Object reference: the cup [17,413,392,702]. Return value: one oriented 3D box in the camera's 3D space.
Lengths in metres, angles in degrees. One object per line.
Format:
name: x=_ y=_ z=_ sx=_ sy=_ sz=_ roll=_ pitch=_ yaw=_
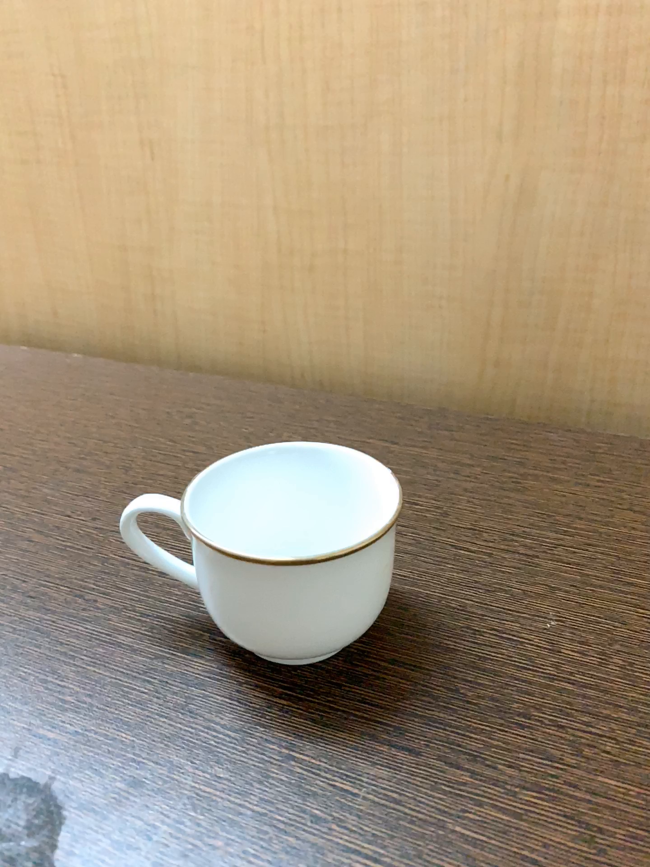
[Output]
cup: x=-0.029 y=0.032 z=0.202 sx=0.090 sy=0.050 sz=0.060 roll=4 pitch=26 yaw=9
